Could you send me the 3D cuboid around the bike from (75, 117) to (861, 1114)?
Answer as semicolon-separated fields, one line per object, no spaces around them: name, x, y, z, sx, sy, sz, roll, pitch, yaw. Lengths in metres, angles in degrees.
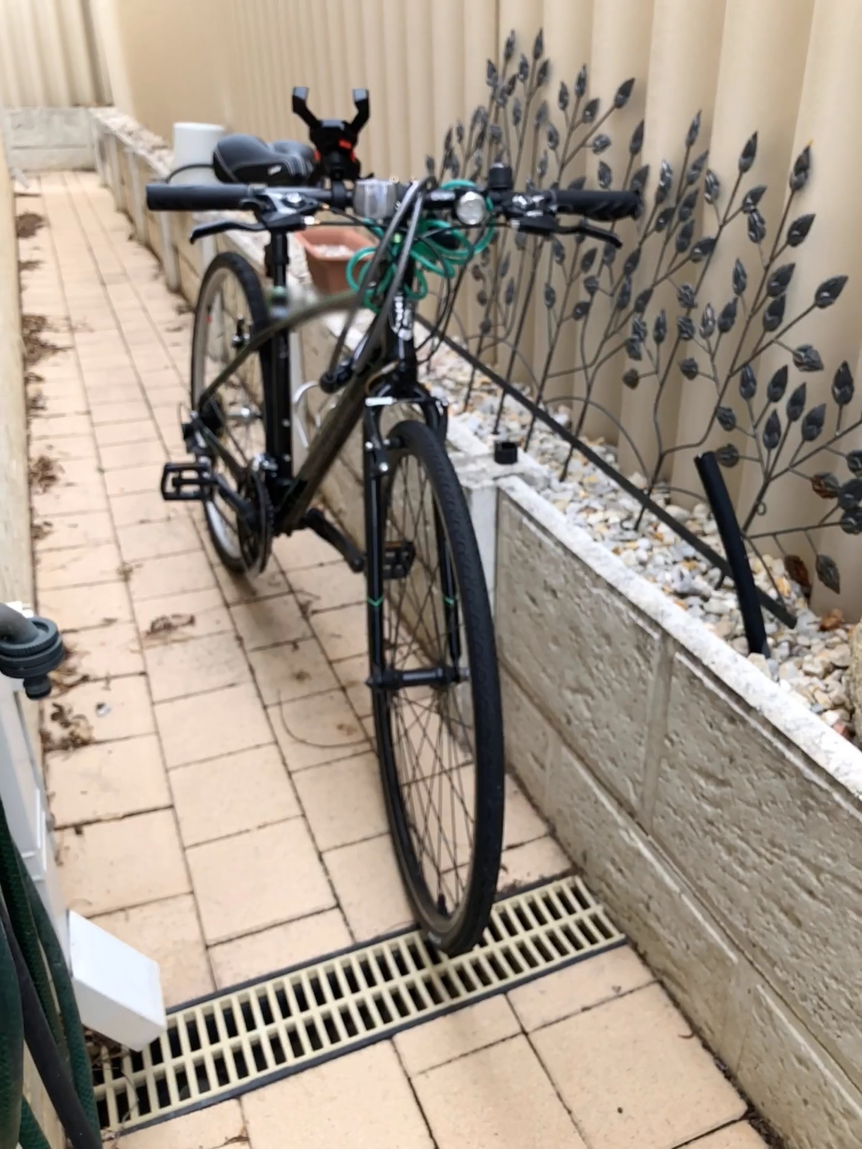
bike;-0.140;-0.240;1.615;0.638;0.859;1.705;-11;31;-19
